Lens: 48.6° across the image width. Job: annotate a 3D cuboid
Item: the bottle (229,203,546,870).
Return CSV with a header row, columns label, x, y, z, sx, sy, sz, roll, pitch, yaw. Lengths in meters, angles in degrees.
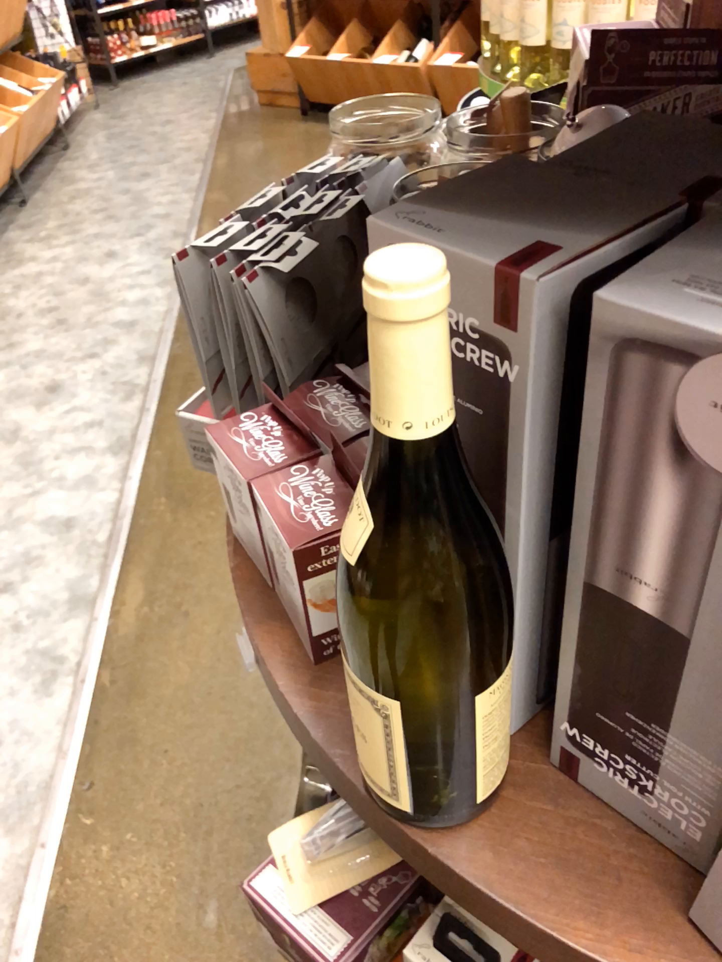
label,x,y,z,sx,sy,sz,roll,pitch,yaw
bottle,0.029,0.046,0.349,0.090,0.299,0.090,-5,37,4
